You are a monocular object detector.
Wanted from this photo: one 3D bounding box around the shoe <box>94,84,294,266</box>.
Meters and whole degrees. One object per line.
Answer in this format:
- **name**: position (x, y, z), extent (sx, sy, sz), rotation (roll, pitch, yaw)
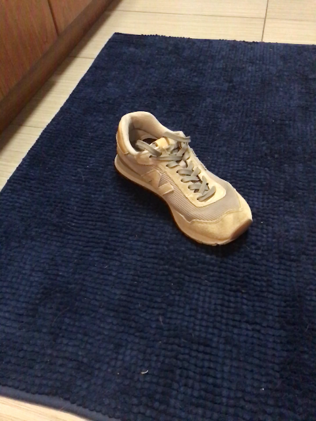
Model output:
- **shoe**: position (0.039, -0.071, 0.524), extent (0.130, 0.099, 0.281), rotation (-32, 55, -21)
